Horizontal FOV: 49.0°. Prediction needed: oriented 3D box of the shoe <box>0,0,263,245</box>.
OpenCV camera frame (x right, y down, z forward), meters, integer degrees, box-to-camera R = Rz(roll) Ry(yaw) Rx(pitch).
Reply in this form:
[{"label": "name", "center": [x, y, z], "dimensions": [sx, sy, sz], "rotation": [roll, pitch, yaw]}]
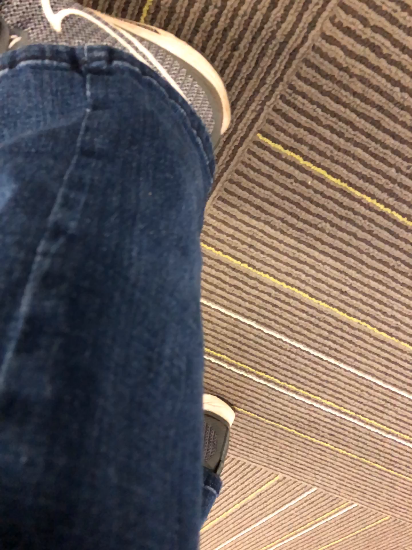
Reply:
[{"label": "shoe", "center": [-0.130, -0.137, 0.283], "dimensions": [0.300, 0.060, 0.121], "rotation": [22, 130, 0]}]
